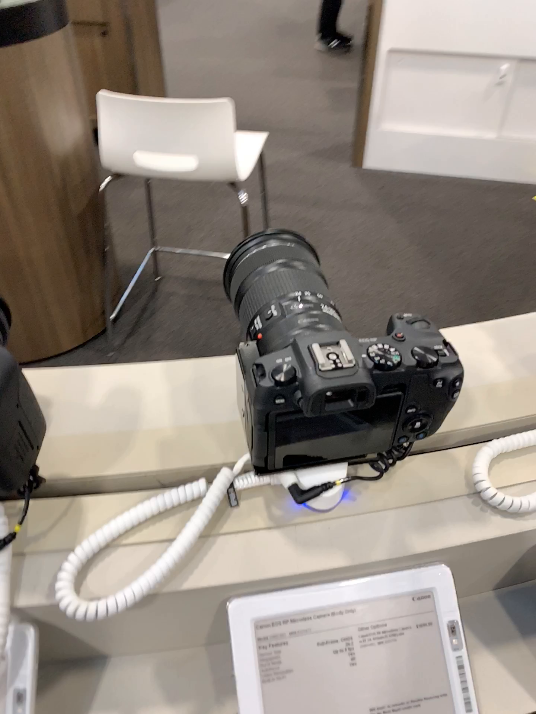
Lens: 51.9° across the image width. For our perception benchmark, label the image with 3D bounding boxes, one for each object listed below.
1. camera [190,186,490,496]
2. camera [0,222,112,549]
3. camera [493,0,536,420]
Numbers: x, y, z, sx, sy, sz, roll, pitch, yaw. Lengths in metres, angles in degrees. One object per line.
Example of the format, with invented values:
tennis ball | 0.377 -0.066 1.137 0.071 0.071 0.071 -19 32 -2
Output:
camera | 0.031 -0.026 0.398 0.140 0.099 0.201 -9 43 -10
camera | -0.200 0.010 0.354 0.150 0.119 0.171 -2 43 -2
camera | 0.302 -0.105 0.386 0.150 0.219 0.171 -9 43 -10
